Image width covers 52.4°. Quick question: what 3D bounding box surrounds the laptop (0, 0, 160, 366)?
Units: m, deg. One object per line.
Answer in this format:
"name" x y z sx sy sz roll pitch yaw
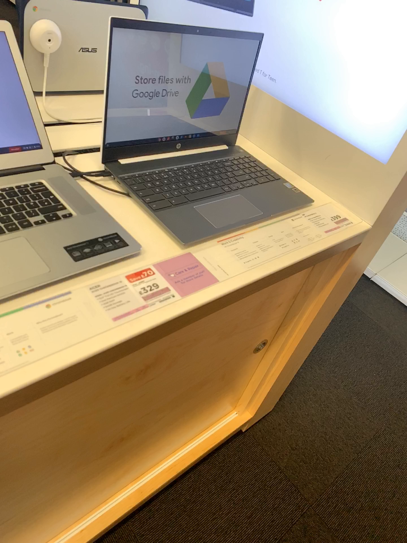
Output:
"laptop" -0.345 -0.169 0.543 0.377 0.174 0.426 -23 55 -39

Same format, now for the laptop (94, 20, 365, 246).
"laptop" 0.040 -0.258 0.750 0.360 0.233 0.268 -21 54 -39
